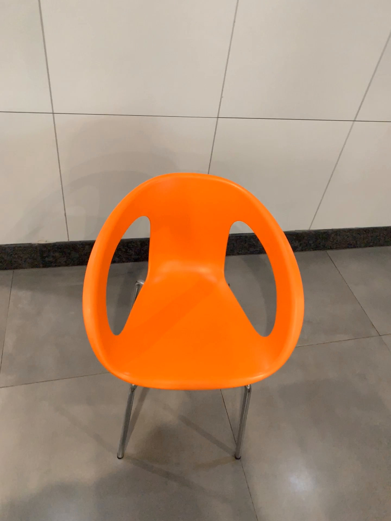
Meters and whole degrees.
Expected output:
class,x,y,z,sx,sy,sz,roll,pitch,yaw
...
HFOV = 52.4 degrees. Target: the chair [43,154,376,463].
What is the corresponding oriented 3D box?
class,x,y,z,sx,sy,sz,roll,pitch,yaw
chair,-0.015,0.161,1.235,0.660,0.664,0.645,4,43,-7
